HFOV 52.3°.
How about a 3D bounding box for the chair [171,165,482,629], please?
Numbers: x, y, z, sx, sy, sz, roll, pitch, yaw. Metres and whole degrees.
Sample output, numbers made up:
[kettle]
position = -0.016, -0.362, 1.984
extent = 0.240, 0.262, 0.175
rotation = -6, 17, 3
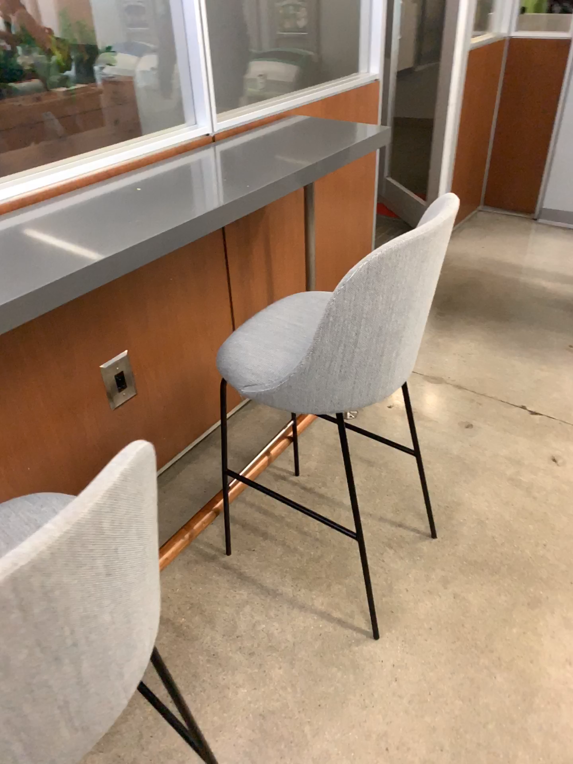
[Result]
[chair]
position = 0.111, 0.057, 1.488
extent = 0.511, 1.034, 0.412
rotation = 15, 39, 23
